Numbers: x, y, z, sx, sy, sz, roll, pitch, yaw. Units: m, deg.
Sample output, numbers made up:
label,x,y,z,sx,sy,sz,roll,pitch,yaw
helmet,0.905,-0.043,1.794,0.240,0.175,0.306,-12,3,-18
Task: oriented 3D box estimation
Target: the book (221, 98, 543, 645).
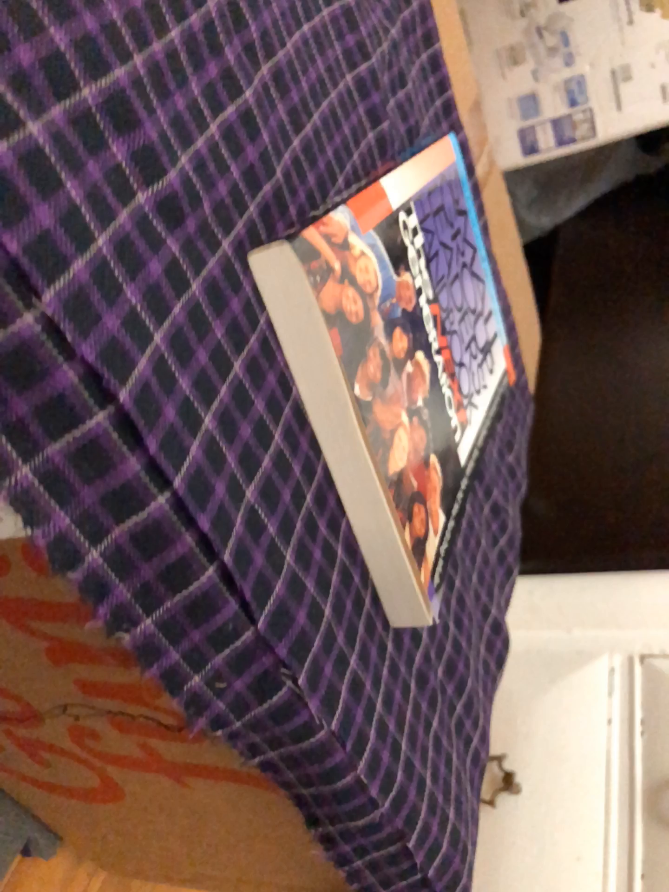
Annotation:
label,x,y,z,sx,sy,sz,roll,pitch,yaw
book,0.044,-0.051,0.315,0.221,0.030,0.150,-55,131,-54
